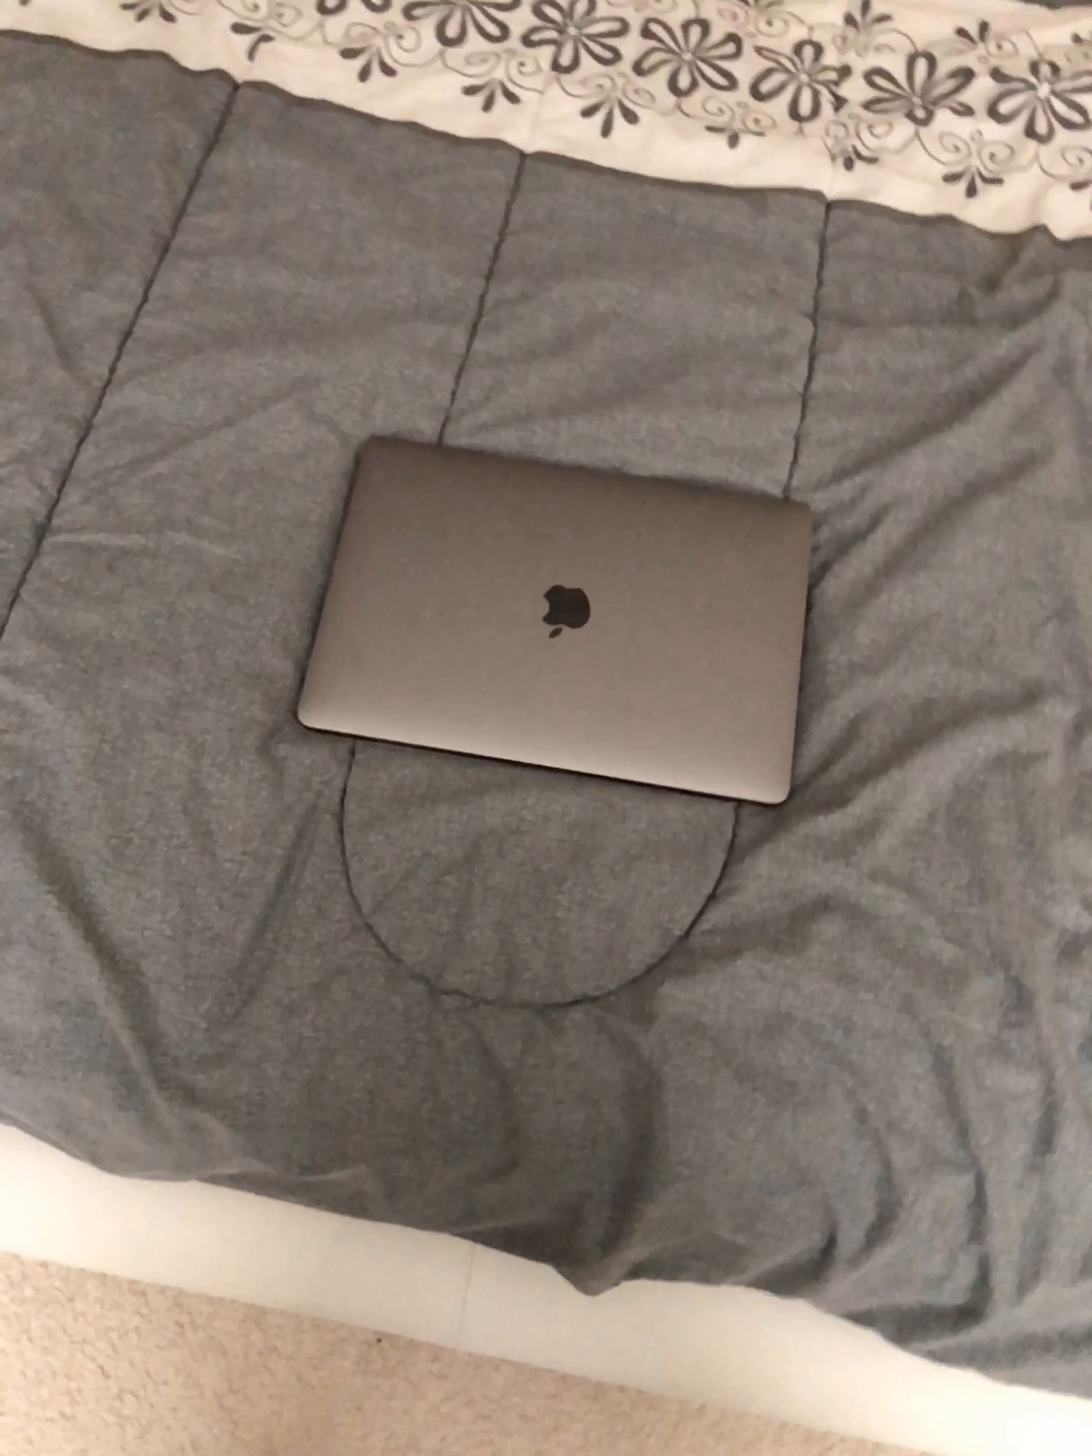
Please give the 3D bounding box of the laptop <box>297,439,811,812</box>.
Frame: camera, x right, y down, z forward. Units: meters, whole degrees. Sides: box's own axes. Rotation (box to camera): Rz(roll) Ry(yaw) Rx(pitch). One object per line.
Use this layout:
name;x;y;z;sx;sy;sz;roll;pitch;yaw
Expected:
laptop;0.012;-0.070;0.760;0.295;0.008;0.207;9;69;1
